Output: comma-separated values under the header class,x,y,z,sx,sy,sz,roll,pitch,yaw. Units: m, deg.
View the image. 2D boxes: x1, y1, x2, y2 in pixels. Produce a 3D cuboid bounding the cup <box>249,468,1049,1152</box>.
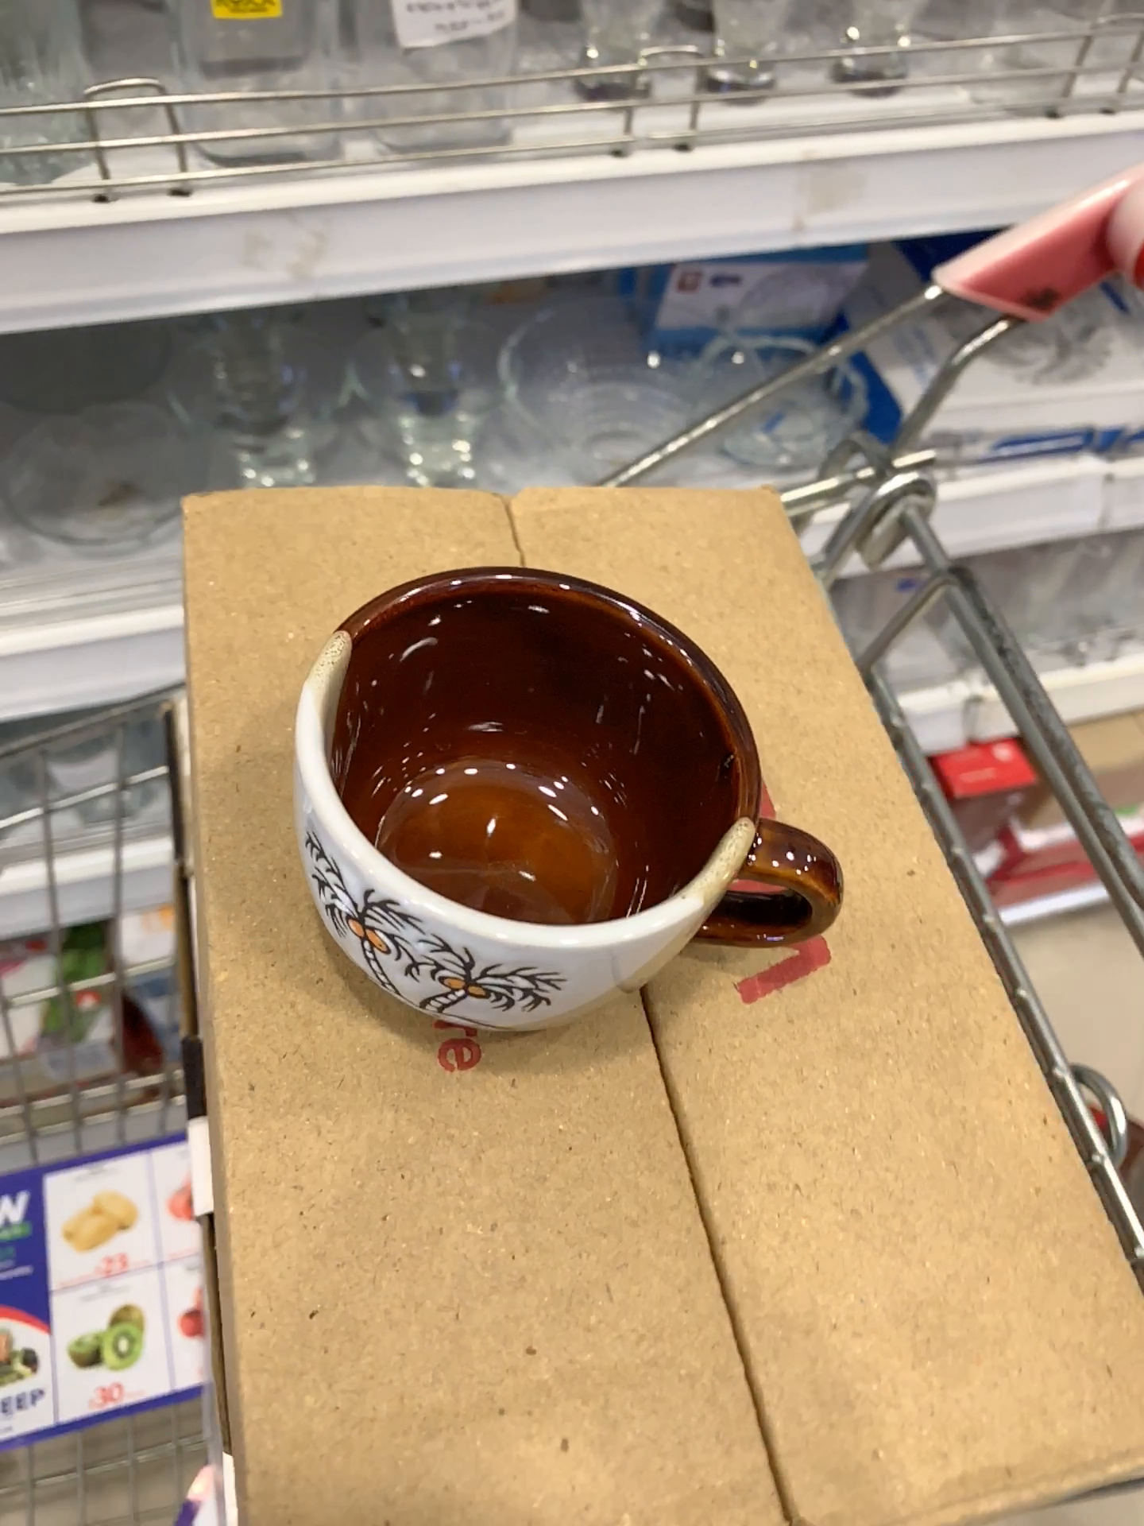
class,x,y,z,sx,sy,sz,roll,pitch,yaw
cup,0.010,0.010,0.185,0.100,0.060,0.060,15,55,-2
